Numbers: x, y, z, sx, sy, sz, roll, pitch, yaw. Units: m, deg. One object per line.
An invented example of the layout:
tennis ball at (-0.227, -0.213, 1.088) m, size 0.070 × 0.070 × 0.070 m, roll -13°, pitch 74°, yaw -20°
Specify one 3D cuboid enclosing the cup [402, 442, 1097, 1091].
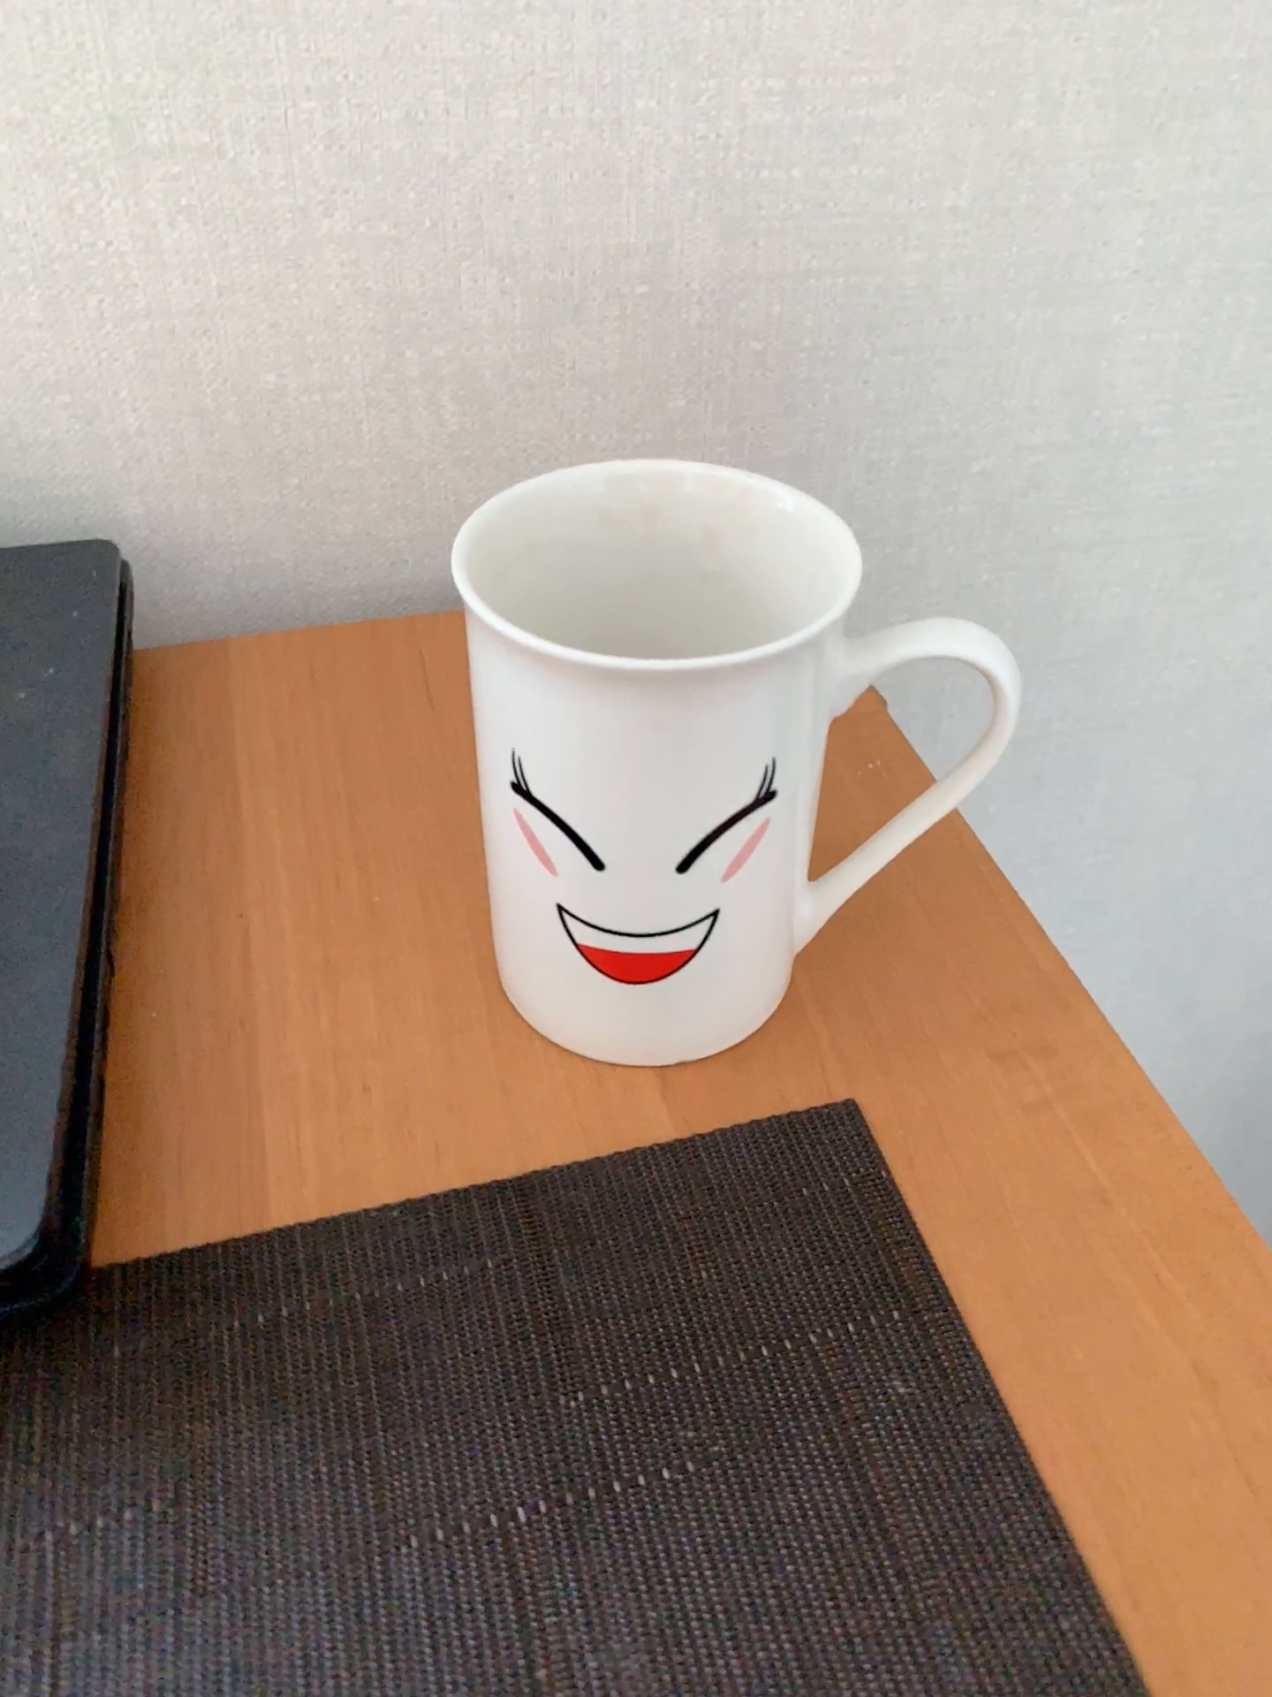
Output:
cup at (0.019, -0.017, 0.263) m, size 0.107 × 0.095 × 0.080 m, roll 3°, pitch 39°, yaw 2°
